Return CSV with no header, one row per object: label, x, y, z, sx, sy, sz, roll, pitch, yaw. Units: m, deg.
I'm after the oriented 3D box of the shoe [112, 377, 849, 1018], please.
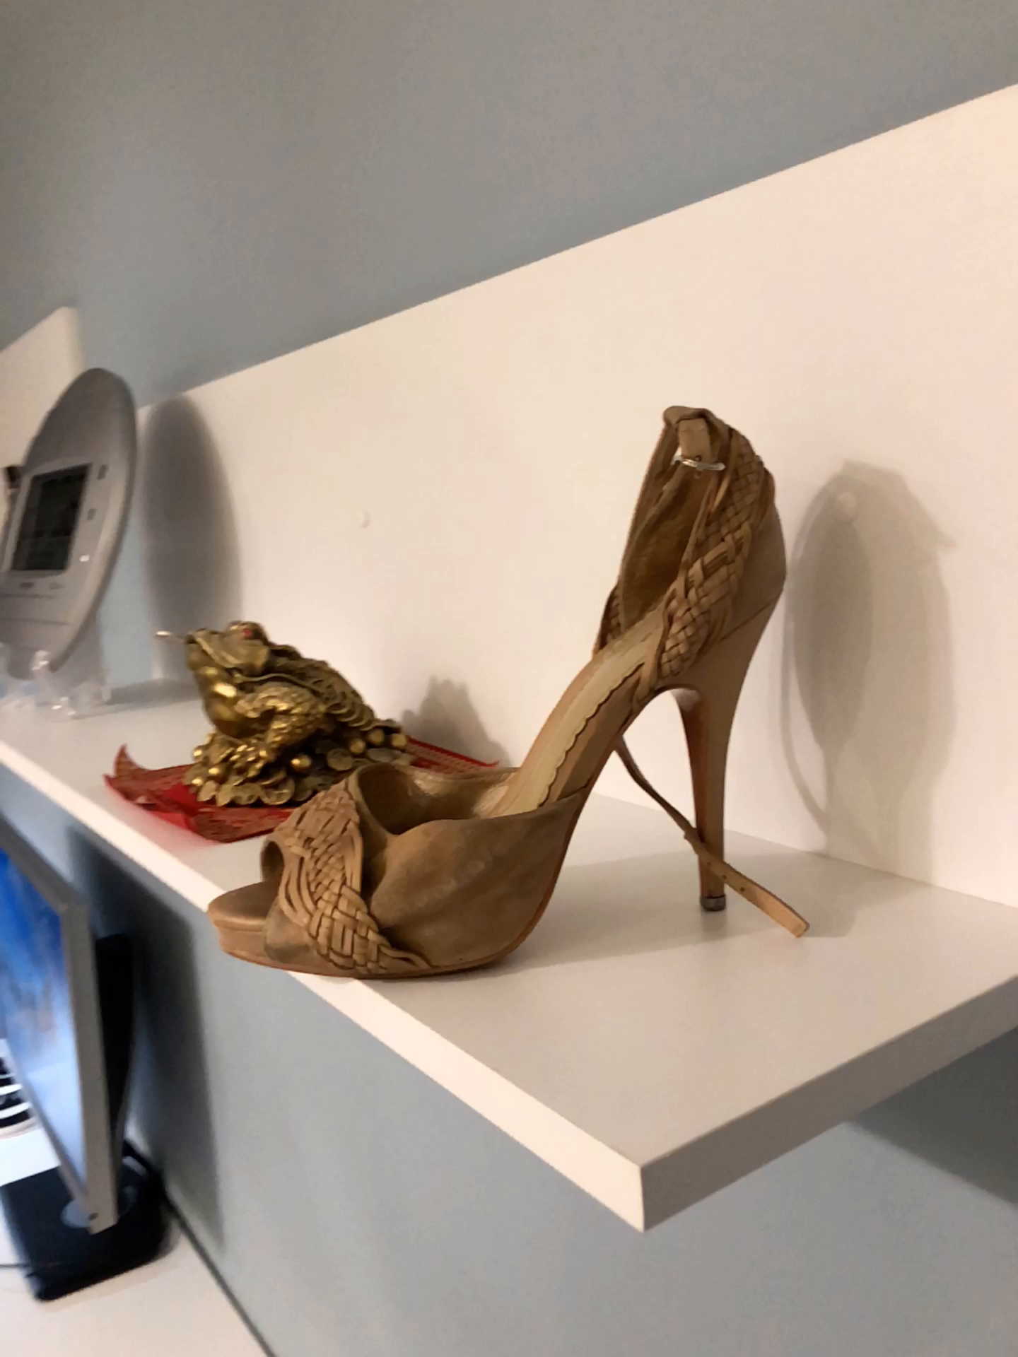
shoe,-0.006,0.001,0.385,0.210,0.180,0.100,-4,7,-3
